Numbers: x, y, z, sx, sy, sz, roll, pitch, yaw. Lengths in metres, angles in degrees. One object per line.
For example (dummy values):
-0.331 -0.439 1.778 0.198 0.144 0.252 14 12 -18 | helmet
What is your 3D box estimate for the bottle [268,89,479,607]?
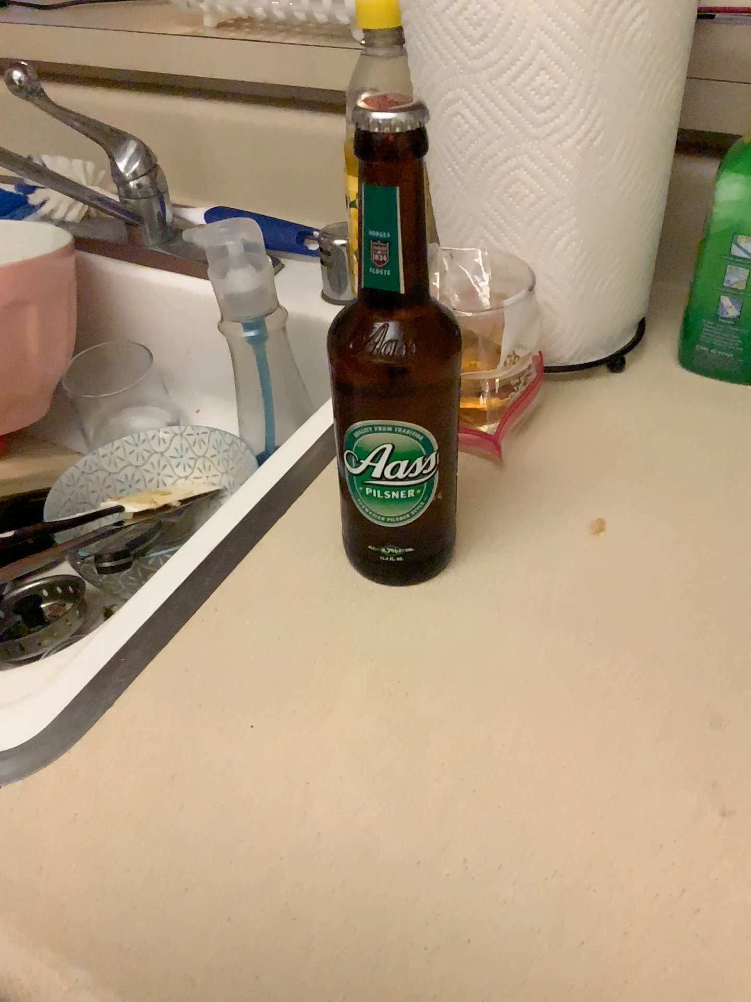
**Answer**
0.006 -0.055 0.382 0.070 0.230 0.060 4 40 8 | bottle
